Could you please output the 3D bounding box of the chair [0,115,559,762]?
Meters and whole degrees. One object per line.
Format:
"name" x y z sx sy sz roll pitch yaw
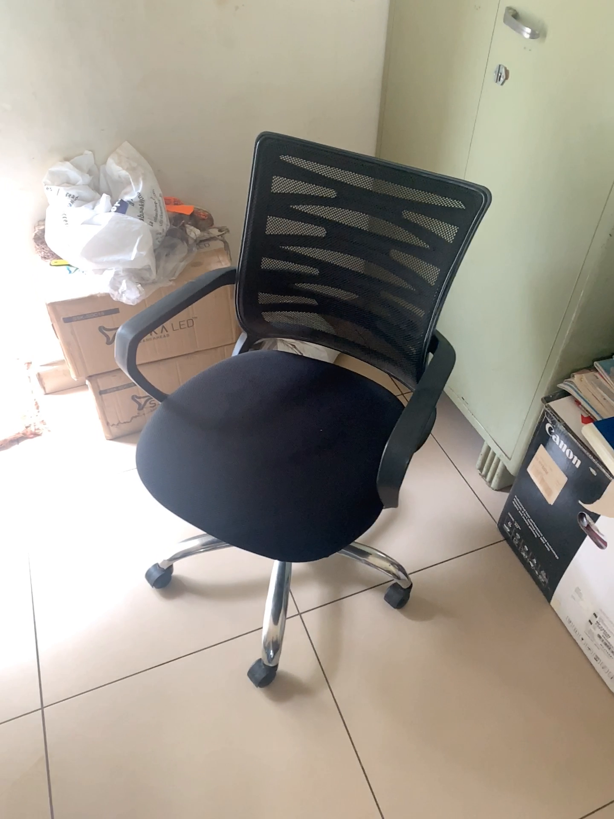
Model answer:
"chair" -0.046 0.074 1.298 0.681 0.996 0.652 22 48 19
